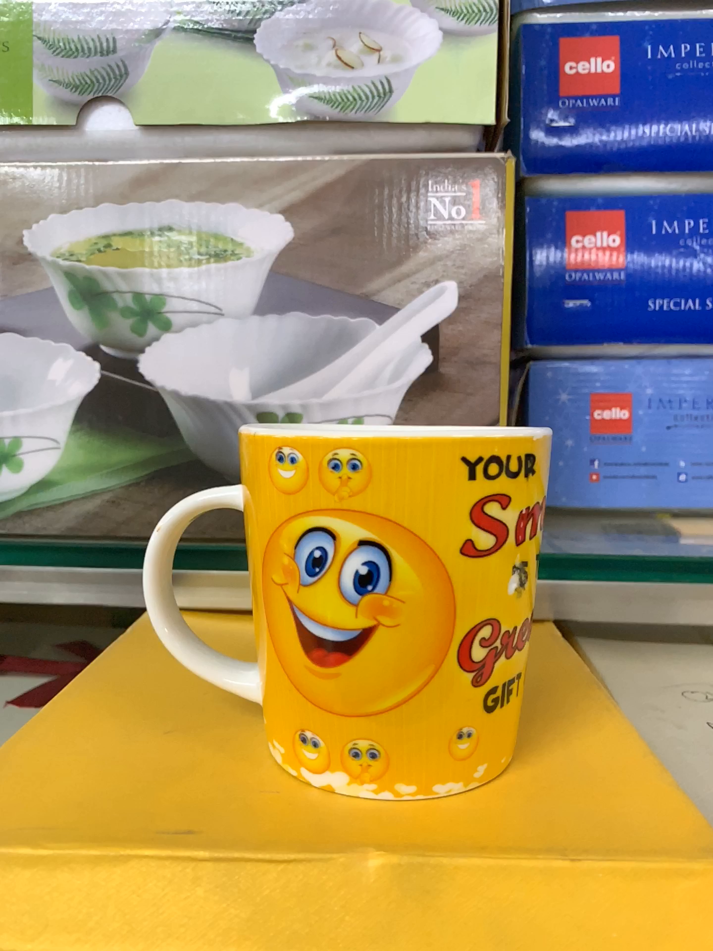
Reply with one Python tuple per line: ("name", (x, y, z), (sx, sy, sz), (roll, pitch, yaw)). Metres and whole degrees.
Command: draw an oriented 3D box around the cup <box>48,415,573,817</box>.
("cup", (-0.008, 0.027, 0.202), (0.118, 0.081, 0.072), (2, 6, 10))
